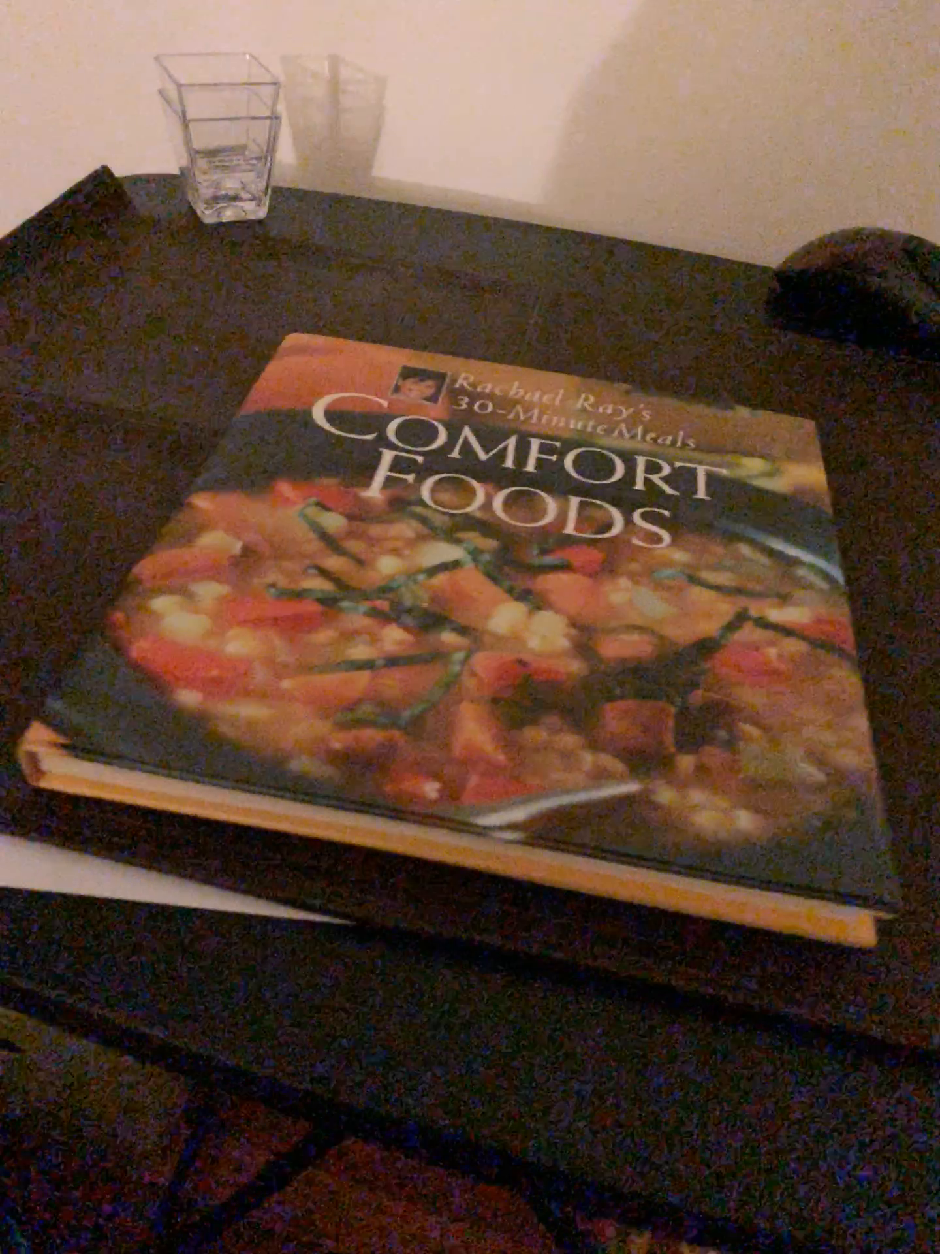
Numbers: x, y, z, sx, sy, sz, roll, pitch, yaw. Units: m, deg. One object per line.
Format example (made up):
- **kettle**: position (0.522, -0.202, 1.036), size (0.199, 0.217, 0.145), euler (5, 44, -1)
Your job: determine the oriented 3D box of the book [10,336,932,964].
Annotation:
- **book**: position (0.012, -0.017, 0.287), size (0.200, 0.020, 0.201), euler (10, 43, 3)
